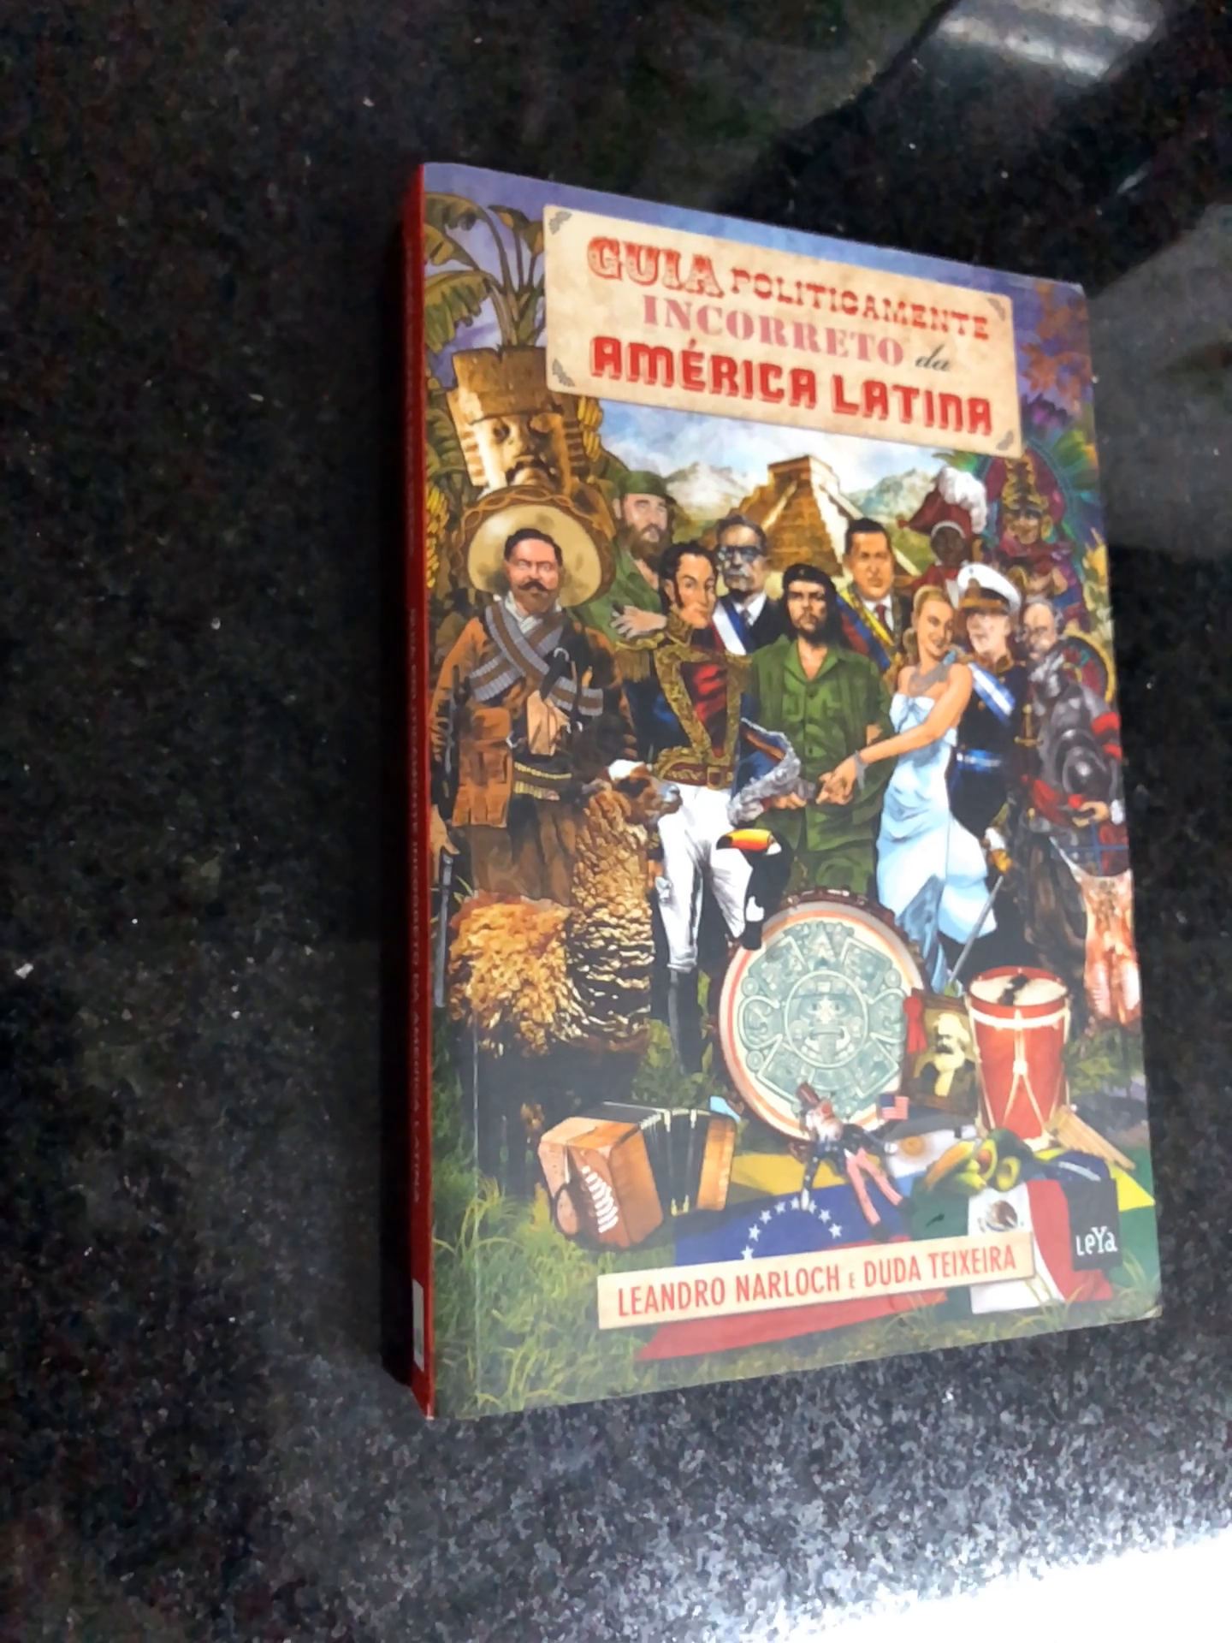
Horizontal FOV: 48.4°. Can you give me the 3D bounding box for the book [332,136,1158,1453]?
[{"bbox_3d":[0.024,-0.008,0.273,0.150,0.040,0.220,1,81,-22],"label":"book"}]
